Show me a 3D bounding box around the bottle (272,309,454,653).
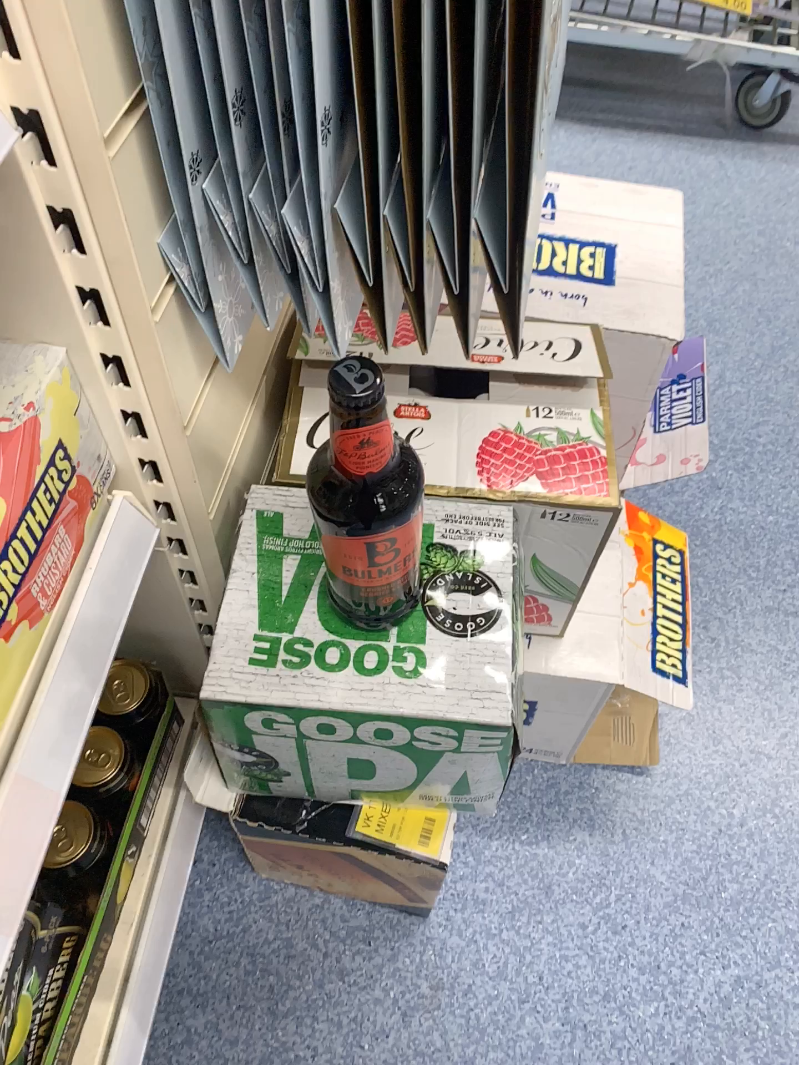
[{"bbox_3d":[-0.018,-0.017,0.509,0.070,0.235,0.070,0,57,0],"label":"bottle"}]
